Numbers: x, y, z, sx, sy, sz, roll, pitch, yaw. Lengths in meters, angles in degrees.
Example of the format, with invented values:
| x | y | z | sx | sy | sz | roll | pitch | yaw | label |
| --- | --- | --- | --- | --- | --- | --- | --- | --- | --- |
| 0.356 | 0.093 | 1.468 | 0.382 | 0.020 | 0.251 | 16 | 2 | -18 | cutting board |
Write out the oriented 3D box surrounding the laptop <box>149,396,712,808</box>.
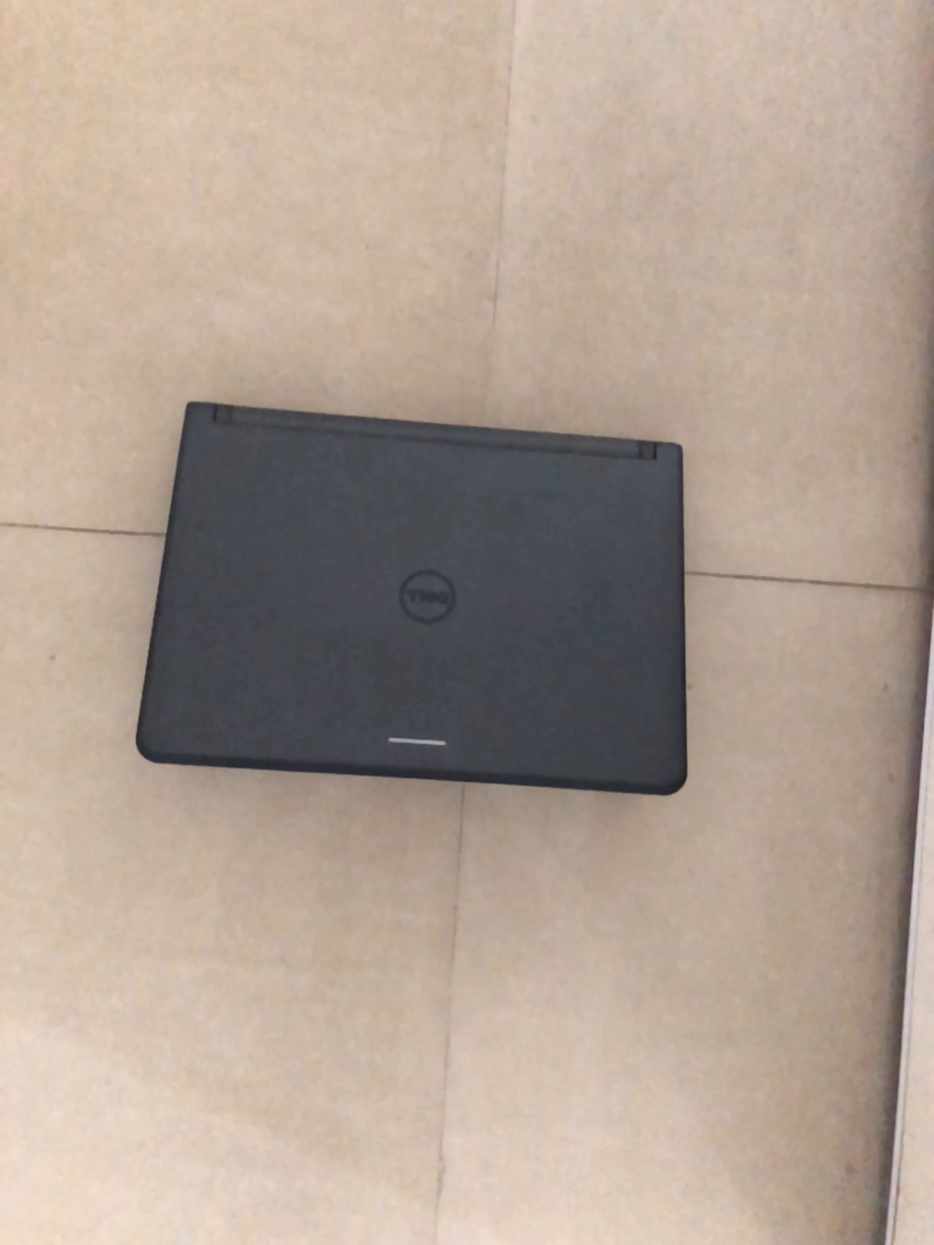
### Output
| x | y | z | sx | sy | sz | roll | pitch | yaw | label |
| --- | --- | --- | --- | --- | --- | --- | --- | --- | --- |
| -0.024 | -0.009 | 0.639 | 0.314 | 0.064 | 0.220 | 4 | 94 | -2 | laptop |
